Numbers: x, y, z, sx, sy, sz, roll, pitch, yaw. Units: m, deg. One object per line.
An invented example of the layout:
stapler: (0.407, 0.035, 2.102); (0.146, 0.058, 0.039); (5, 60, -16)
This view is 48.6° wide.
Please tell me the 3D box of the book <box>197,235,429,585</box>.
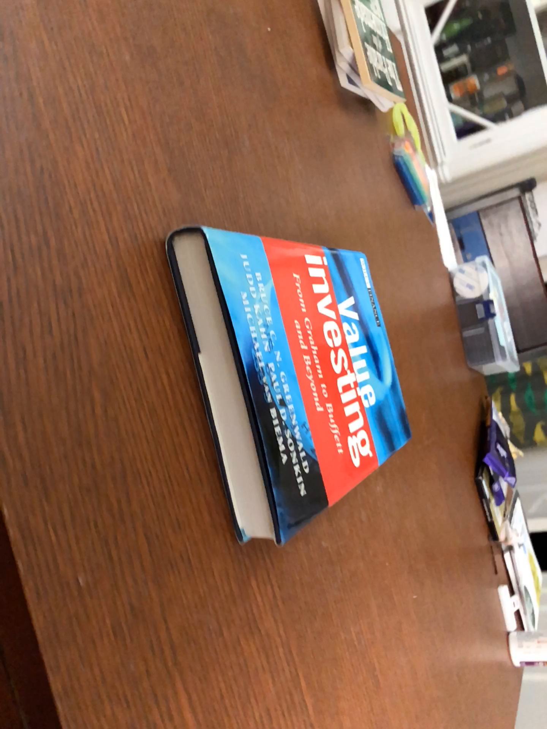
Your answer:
book: (0.044, 0.012, 0.394); (0.231, 0.020, 0.170); (-12, 88, -62)
